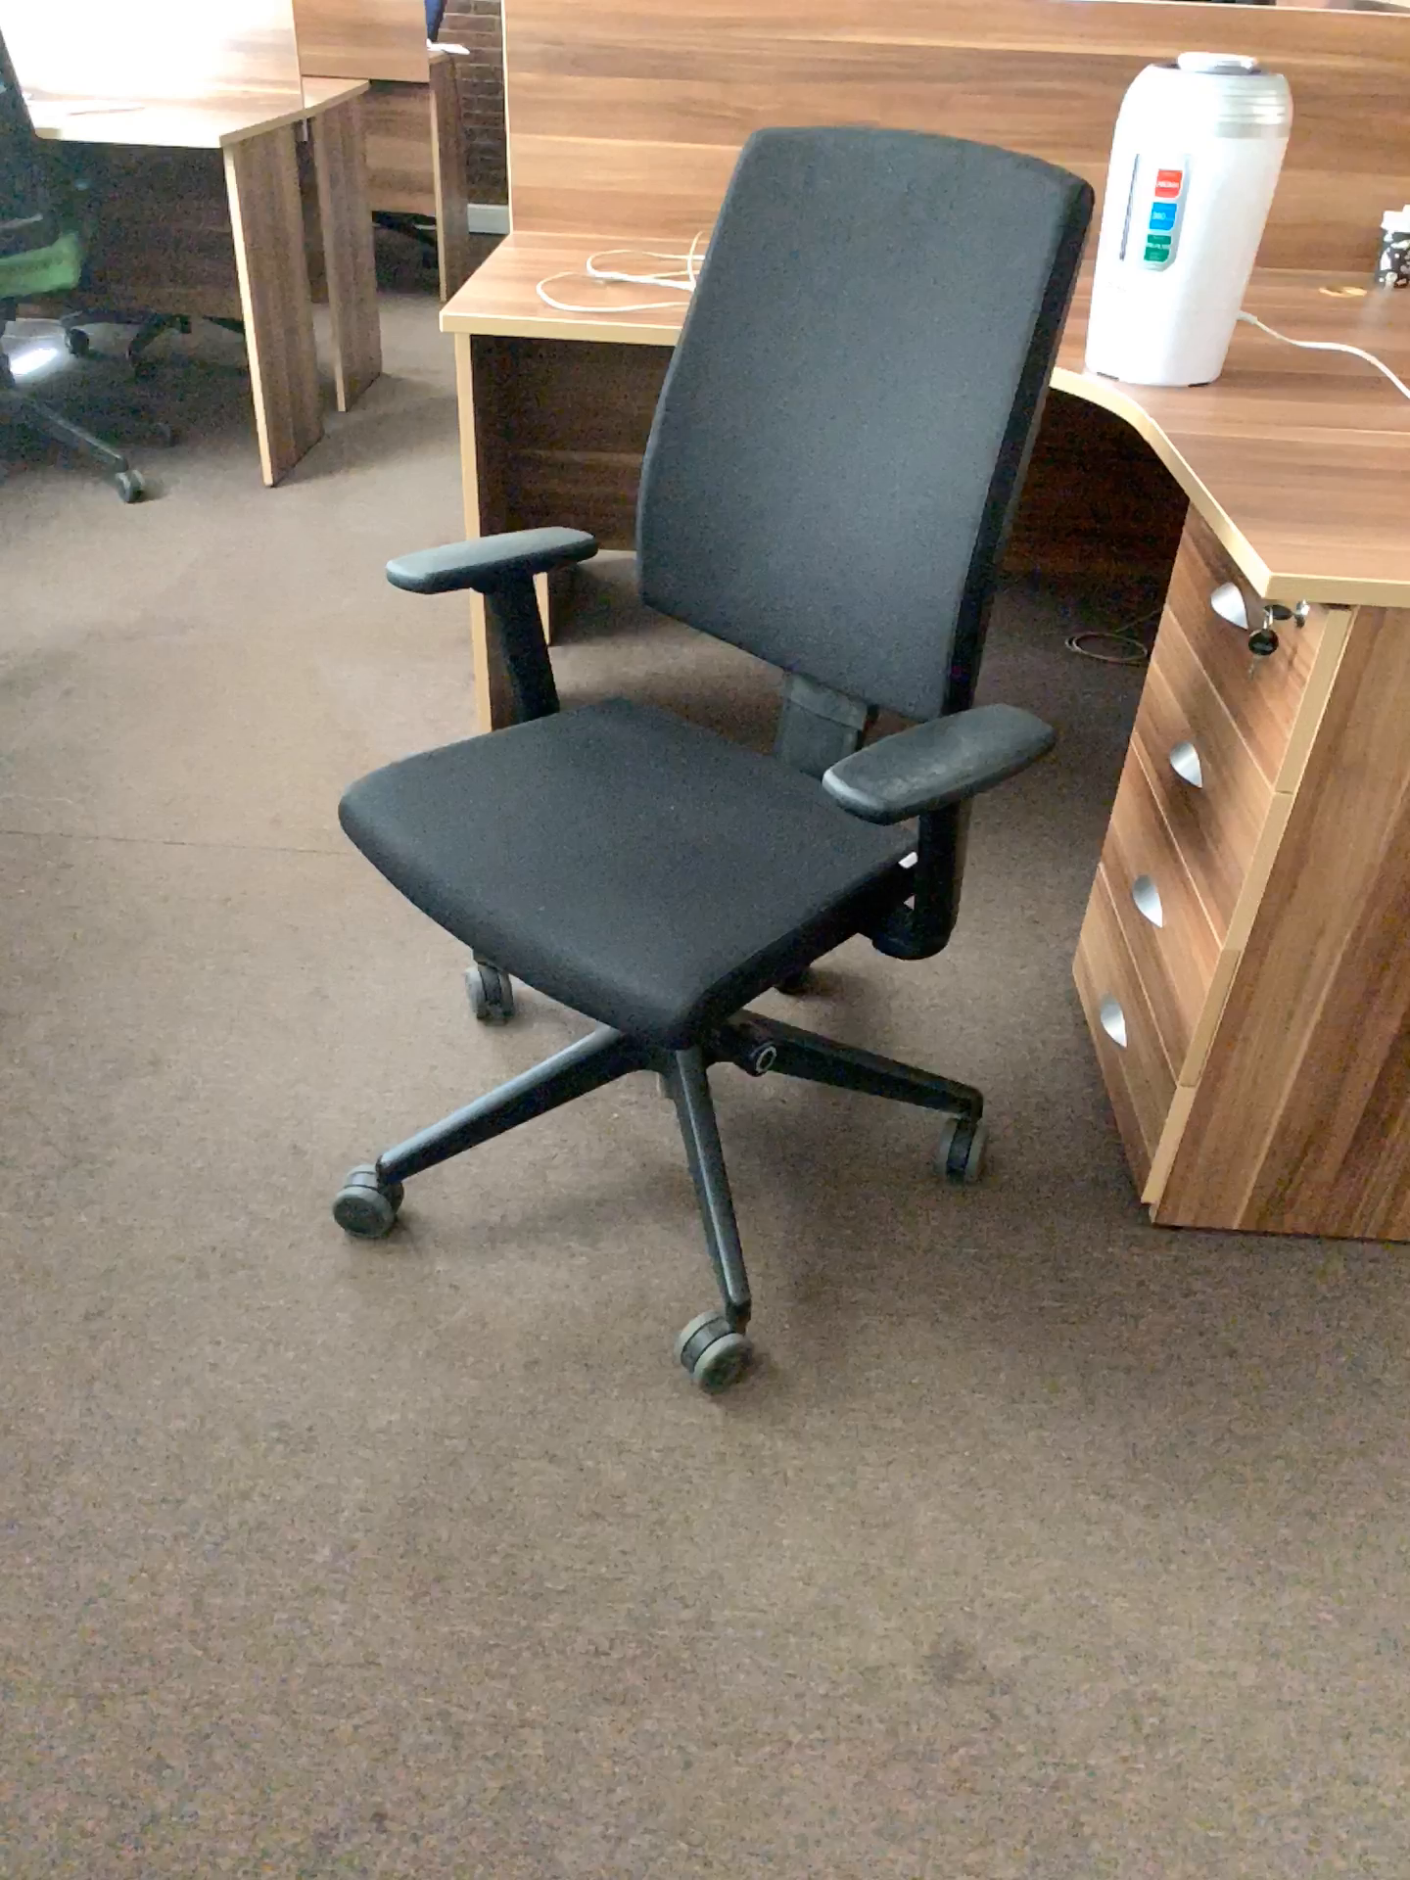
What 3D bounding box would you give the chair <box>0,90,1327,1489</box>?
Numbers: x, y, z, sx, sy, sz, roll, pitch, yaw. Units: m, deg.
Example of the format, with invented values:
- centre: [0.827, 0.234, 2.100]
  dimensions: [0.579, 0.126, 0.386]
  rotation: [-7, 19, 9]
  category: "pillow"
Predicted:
- centre: [-0.039, -0.221, 1.345]
  dimensions: [0.672, 0.915, 0.792]
  rotation: [30, 43, 33]
  category: "chair"
